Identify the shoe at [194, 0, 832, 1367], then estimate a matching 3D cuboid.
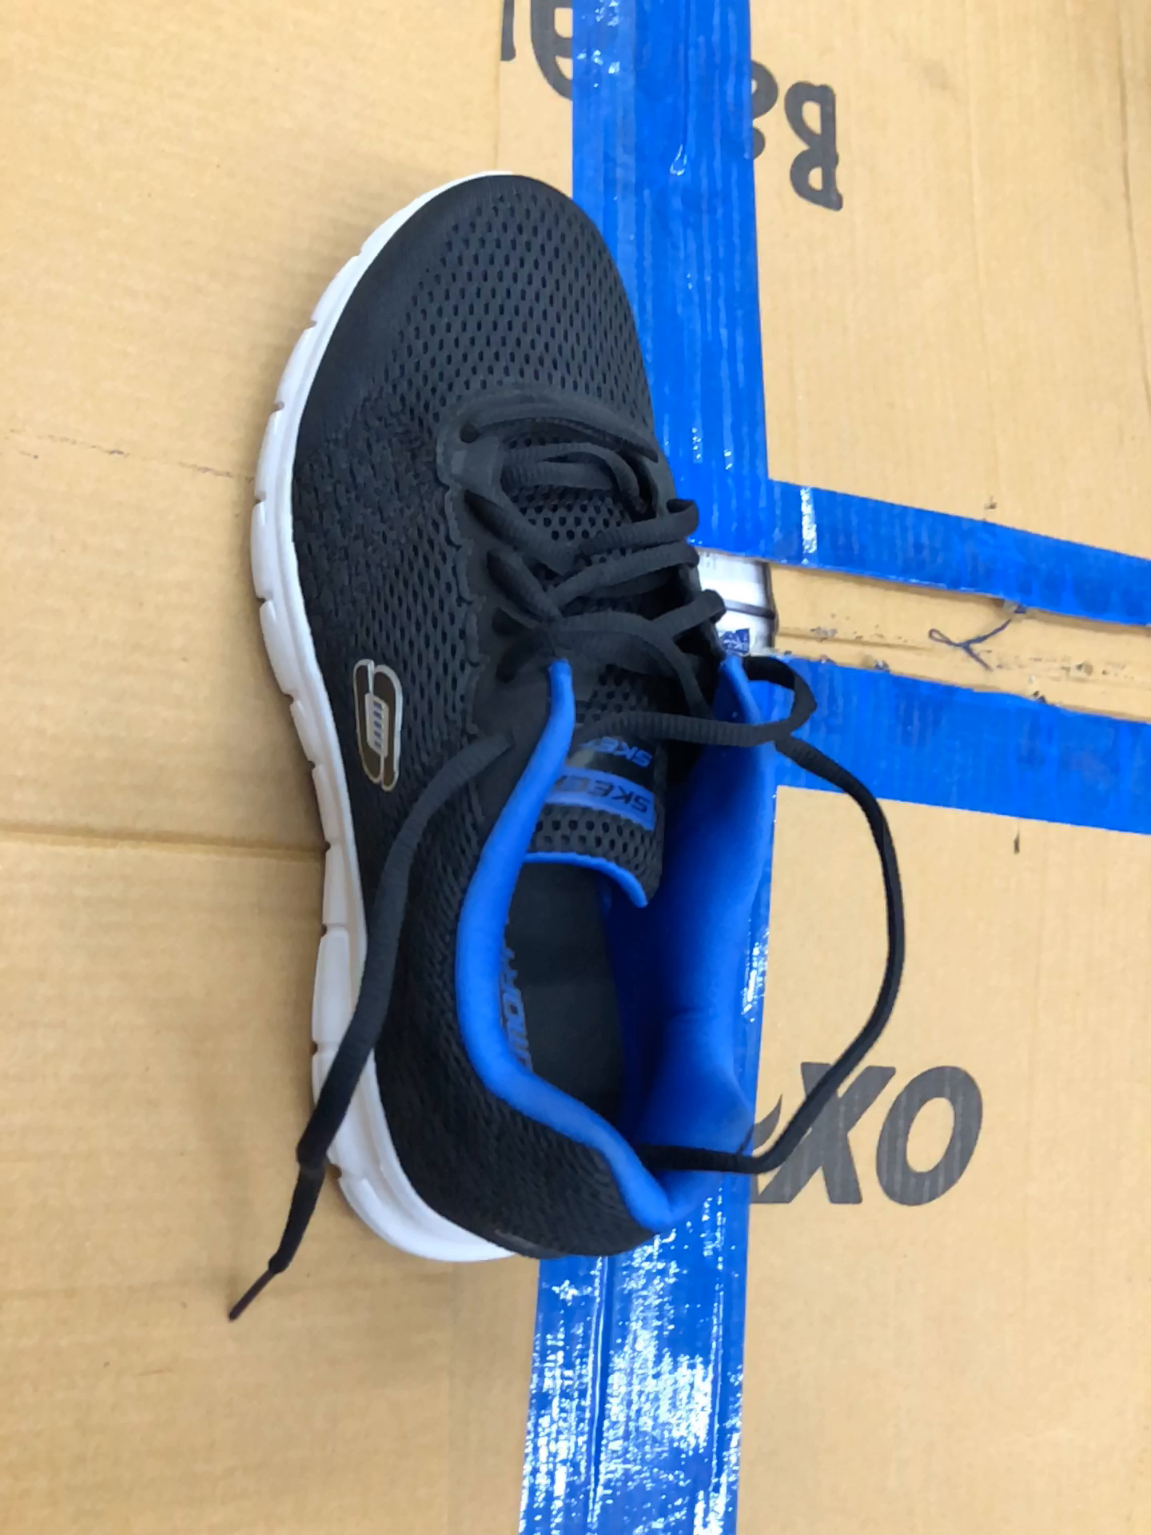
[{"bbox_3d":[-0.024,-0.016,0.325,0.110,0.129,0.270,4,80,-25],"label":"shoe"}]
